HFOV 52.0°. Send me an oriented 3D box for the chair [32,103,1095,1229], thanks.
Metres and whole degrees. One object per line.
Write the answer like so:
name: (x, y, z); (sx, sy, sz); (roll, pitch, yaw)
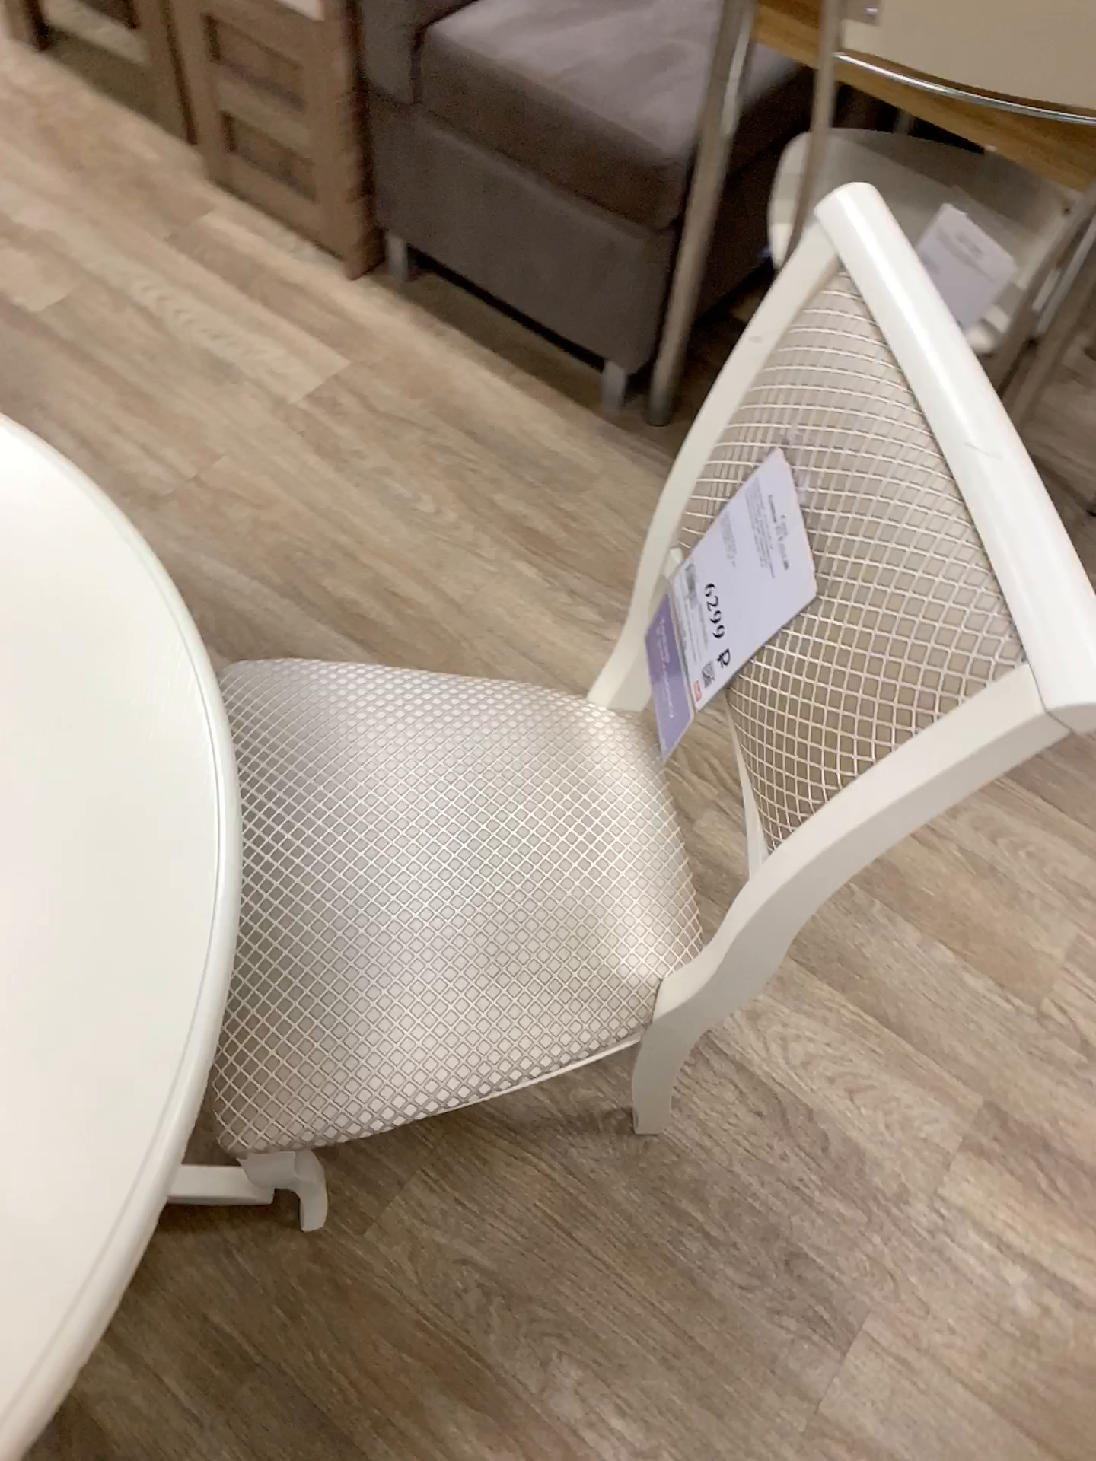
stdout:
chair: (-0.033, 0.054, 0.969); (0.510, 0.907, 0.461); (-9, 59, -11)
